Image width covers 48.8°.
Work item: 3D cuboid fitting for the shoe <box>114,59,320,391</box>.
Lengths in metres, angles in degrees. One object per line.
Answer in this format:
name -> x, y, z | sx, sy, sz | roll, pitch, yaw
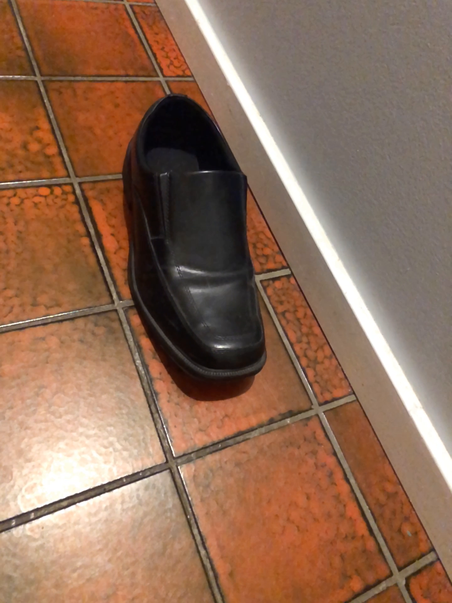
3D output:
shoe -> -0.027, -0.080, 0.477 | 0.120, 0.100, 0.300 | -1, 62, -21
